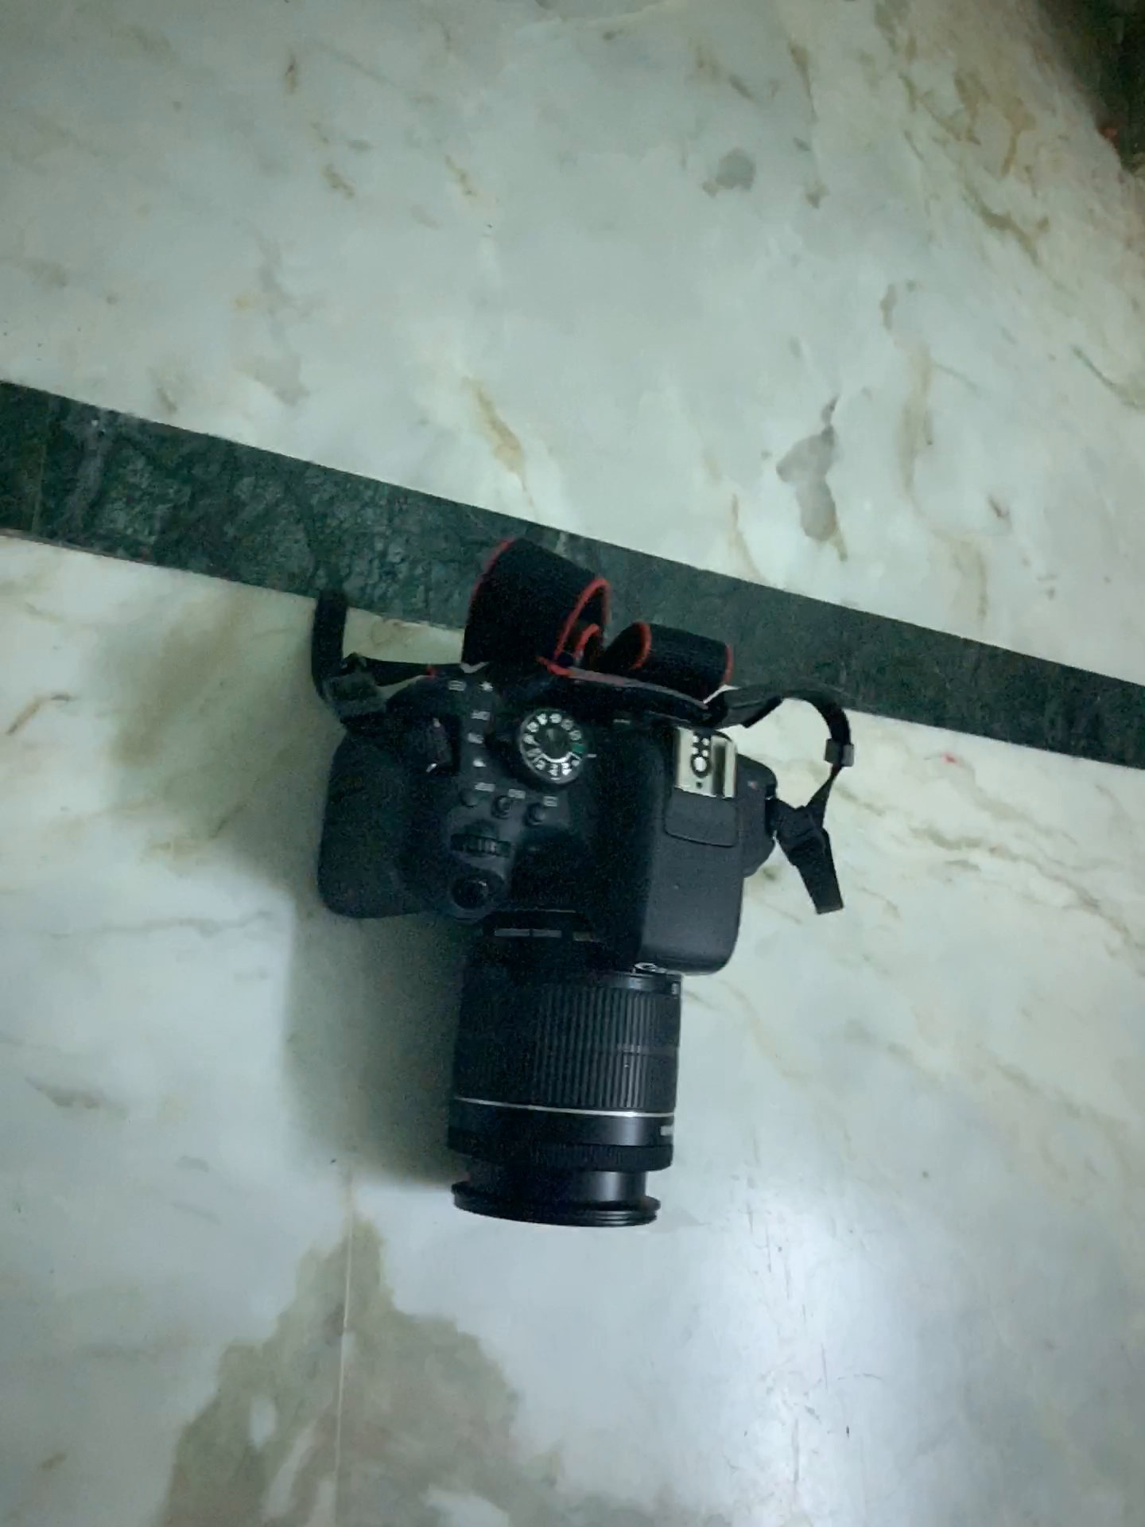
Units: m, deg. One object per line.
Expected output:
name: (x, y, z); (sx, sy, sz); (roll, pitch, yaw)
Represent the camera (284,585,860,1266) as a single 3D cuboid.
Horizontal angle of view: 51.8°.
camera: (0.000, 0.053, 0.351); (0.128, 0.100, 0.160); (11, 72, -29)
